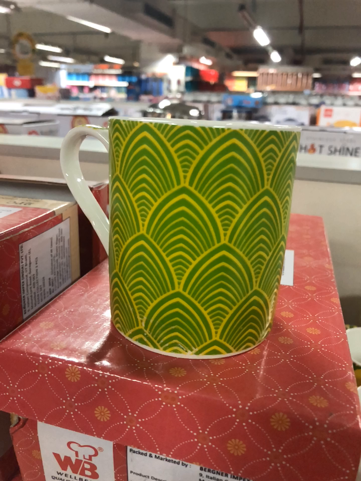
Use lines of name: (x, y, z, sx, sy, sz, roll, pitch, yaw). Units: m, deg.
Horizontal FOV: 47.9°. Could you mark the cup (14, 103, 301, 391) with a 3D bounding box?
cup: (-0.004, -0.008, 0.169, 0.090, 0.090, 0.070, 8, 19, 17)
